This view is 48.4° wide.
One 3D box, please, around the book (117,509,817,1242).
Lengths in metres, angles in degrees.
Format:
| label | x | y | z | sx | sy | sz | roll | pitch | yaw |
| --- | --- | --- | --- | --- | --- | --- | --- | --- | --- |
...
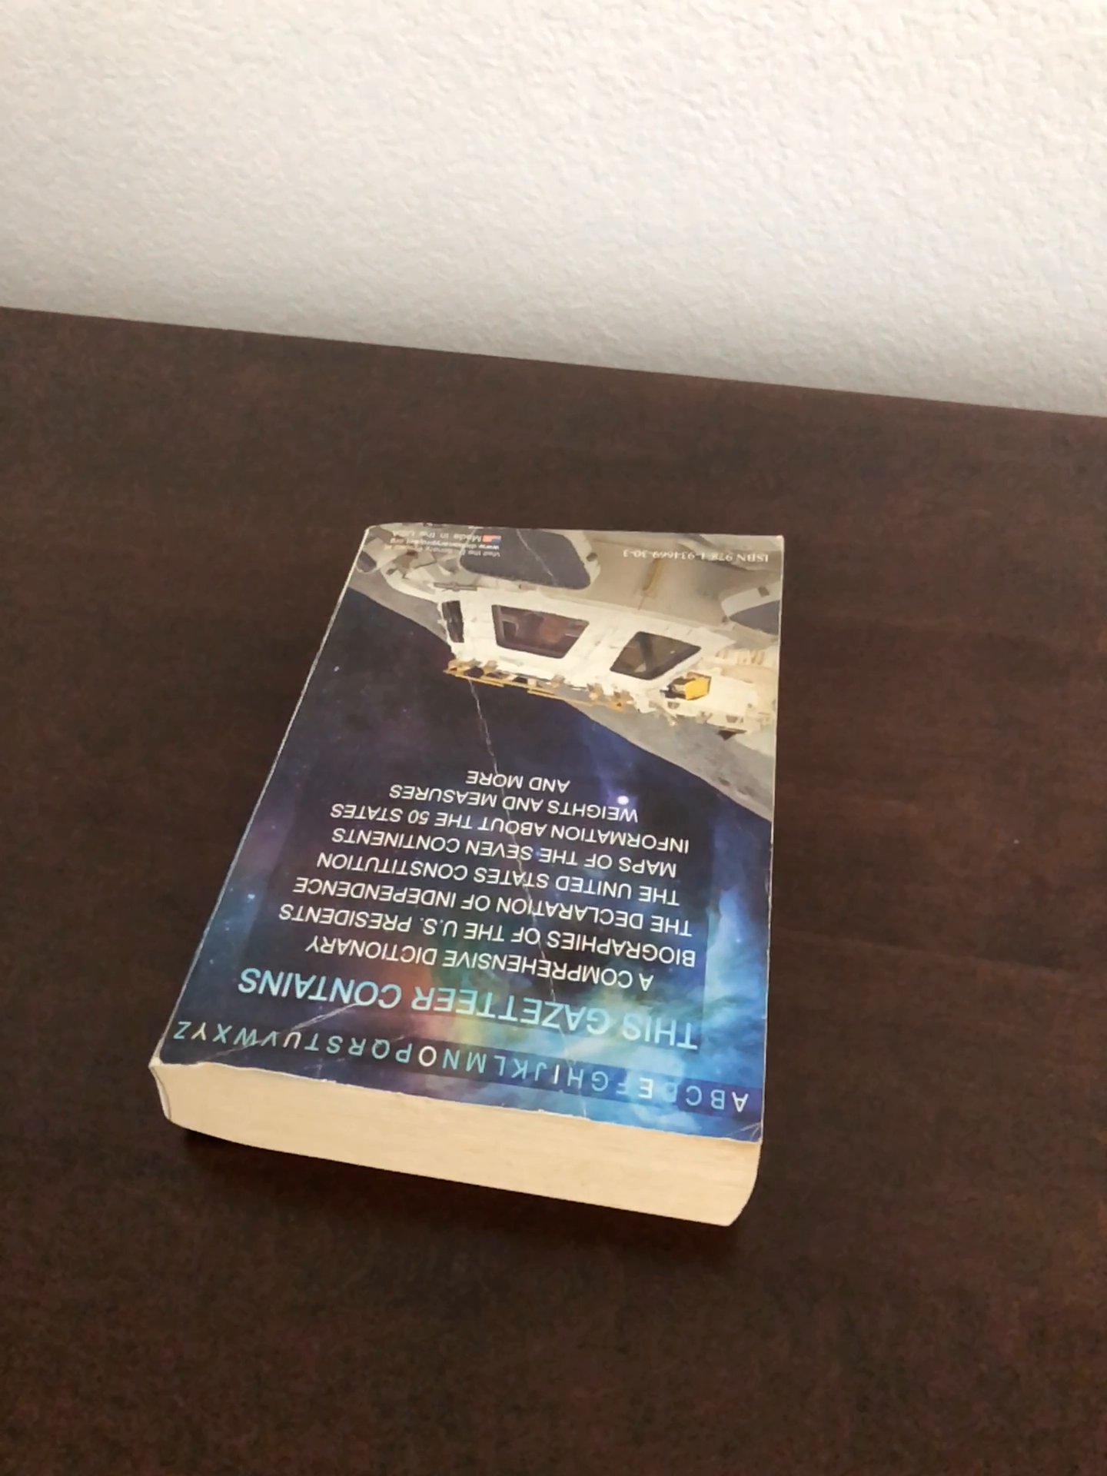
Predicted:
| label | x | y | z | sx | sy | sz | roll | pitch | yaw |
| --- | --- | --- | --- | --- | --- | --- | --- | --- | --- |
| book | -0.006 | 0.018 | 0.329 | 0.140 | 0.040 | 0.197 | 4 | 49 | 11 |
